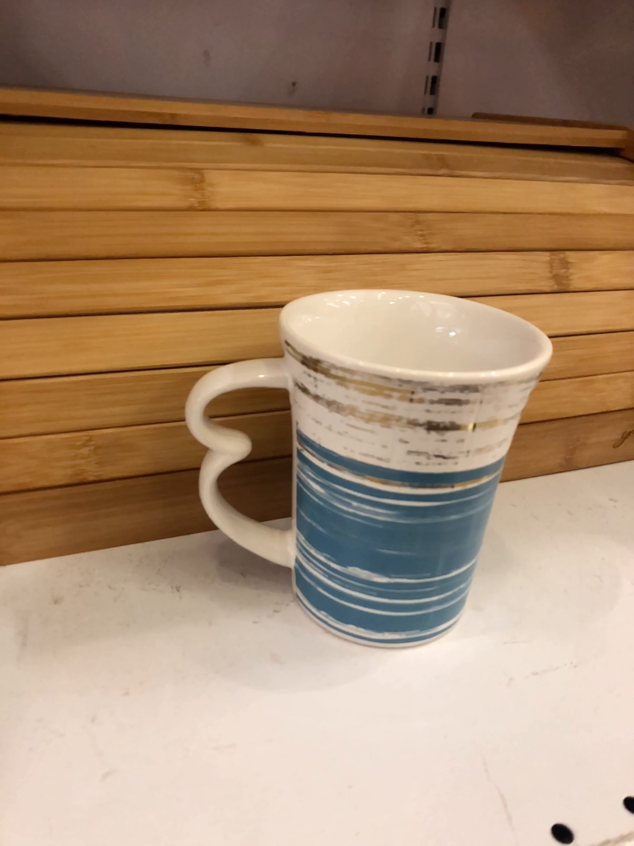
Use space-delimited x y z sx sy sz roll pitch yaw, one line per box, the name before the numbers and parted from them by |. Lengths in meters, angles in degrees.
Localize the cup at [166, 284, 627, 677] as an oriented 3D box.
cup | 0.012 0.011 0.234 0.120 0.089 0.091 -1 26 -12
